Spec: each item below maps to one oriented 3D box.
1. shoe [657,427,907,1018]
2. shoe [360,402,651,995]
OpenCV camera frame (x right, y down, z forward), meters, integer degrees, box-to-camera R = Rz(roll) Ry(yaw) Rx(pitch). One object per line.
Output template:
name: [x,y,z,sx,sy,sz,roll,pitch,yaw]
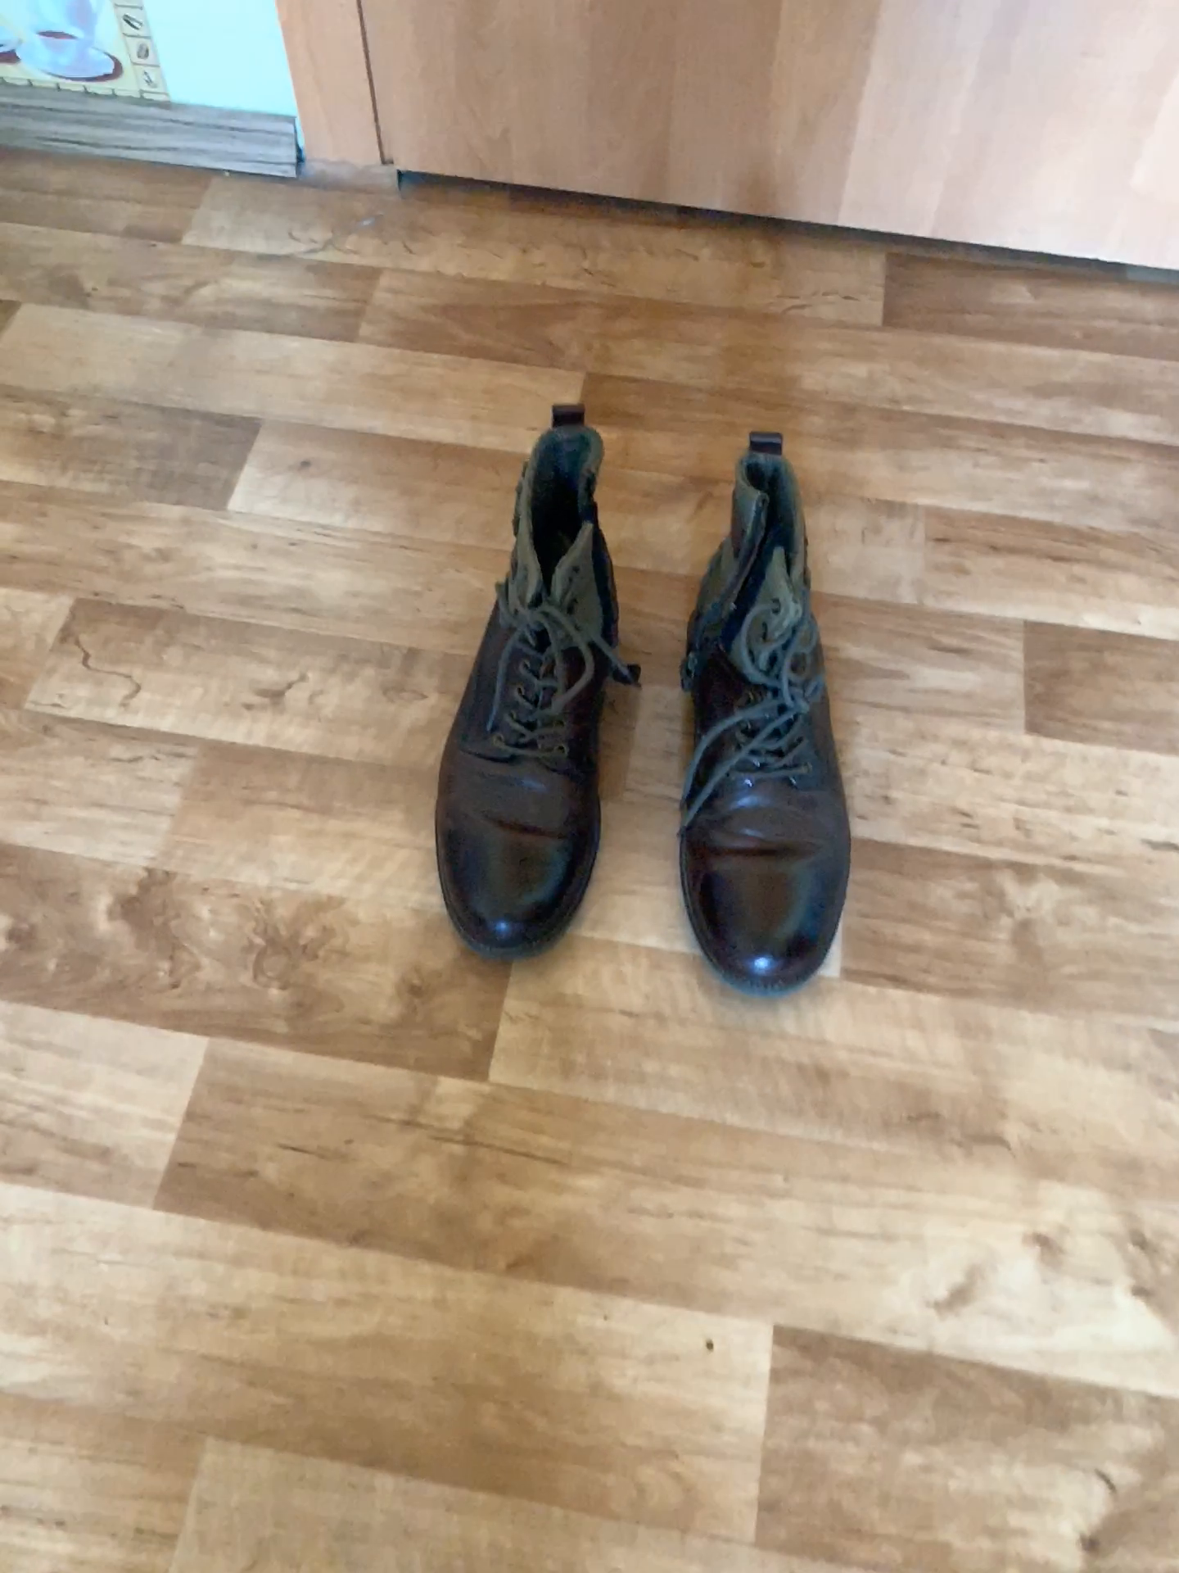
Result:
shoe: [0.109,-0.042,0.712,0.110,0.150,0.311,5,60,2]
shoe: [-0.037,-0.056,0.713,0.110,0.150,0.311,6,60,3]
